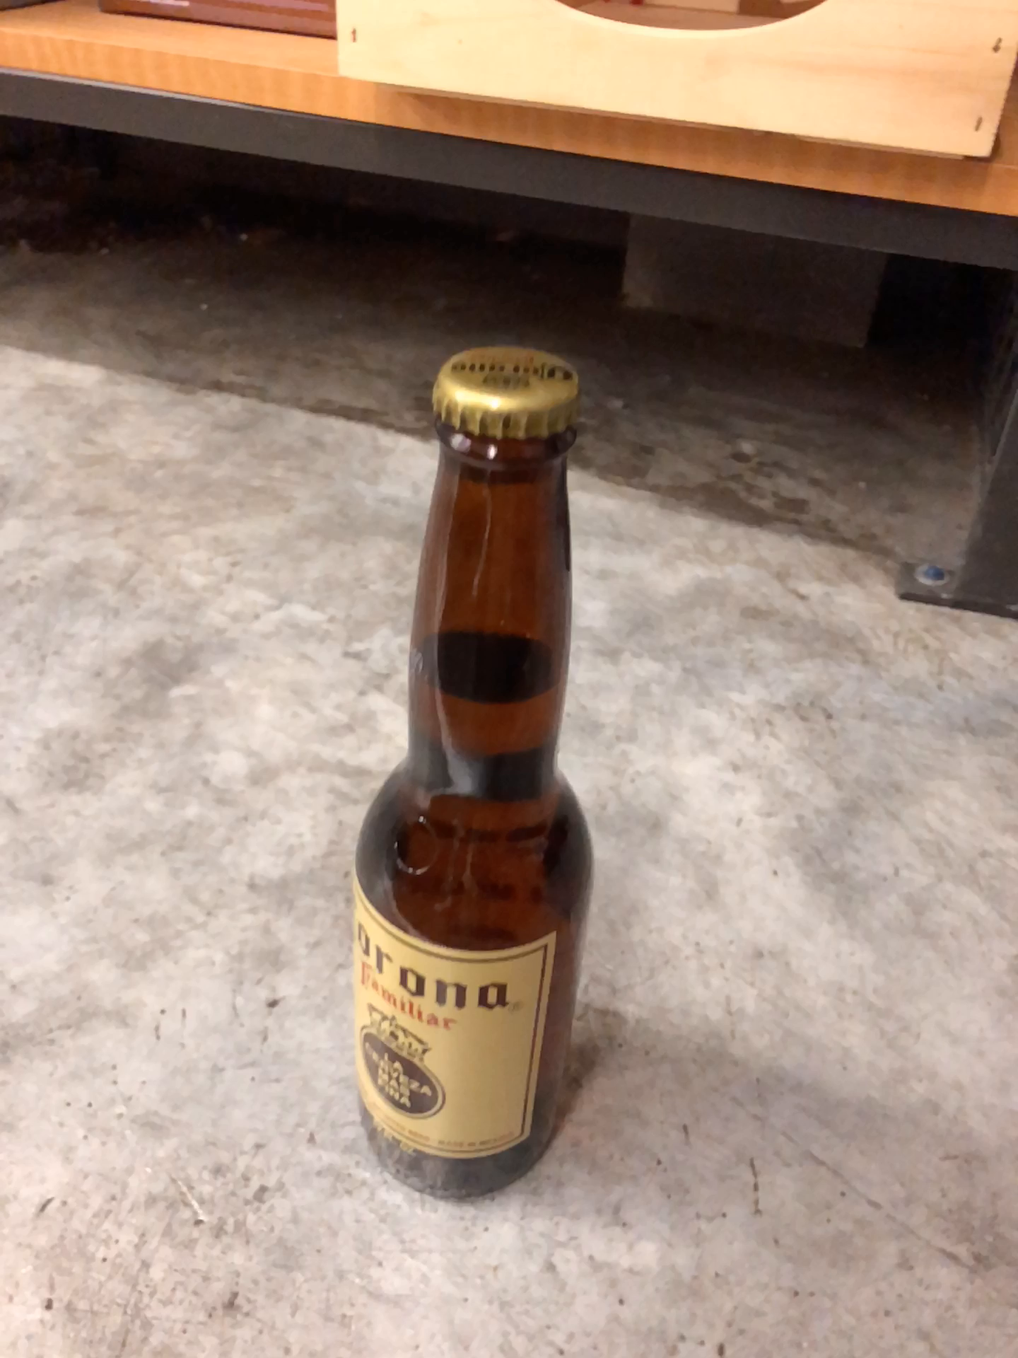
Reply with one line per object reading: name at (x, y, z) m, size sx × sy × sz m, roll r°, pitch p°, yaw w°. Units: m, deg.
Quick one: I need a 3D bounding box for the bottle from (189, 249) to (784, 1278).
bottle at (-0.008, 0.030, 0.252) m, size 0.070 × 0.216 × 0.070 m, roll 3°, pitch 37°, yaw -2°
